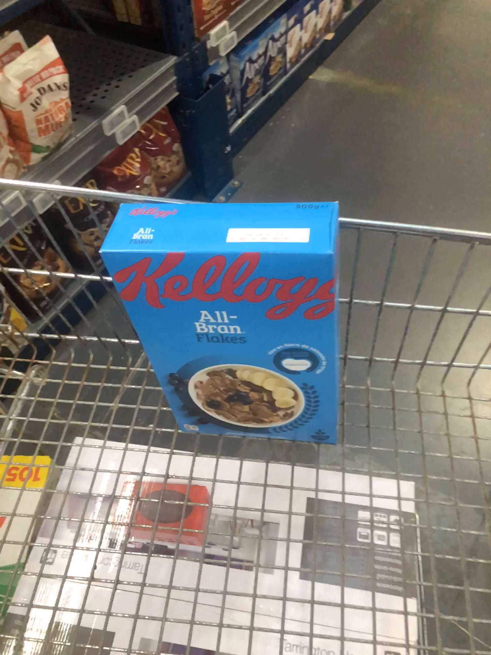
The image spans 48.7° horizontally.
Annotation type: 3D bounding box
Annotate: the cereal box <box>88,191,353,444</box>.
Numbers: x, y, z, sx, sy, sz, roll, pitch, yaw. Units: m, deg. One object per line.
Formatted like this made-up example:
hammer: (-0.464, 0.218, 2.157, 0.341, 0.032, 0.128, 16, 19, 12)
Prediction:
cereal box: (-0.004, 0.005, 0.529, 0.200, 0.269, 0.080, 2, 50, 9)
